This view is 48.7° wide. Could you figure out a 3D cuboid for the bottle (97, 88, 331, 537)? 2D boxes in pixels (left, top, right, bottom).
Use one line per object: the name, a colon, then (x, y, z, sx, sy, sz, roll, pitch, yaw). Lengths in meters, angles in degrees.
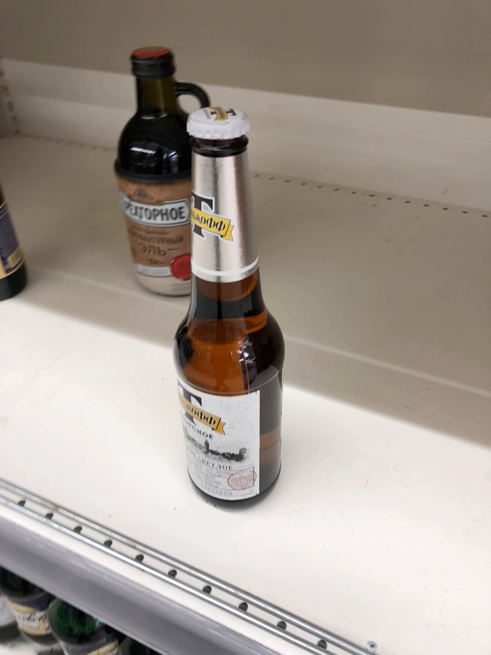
bottle: (-0.014, 0.006, 0.319, 0.070, 0.249, 0.080, -29, 46, -31)
